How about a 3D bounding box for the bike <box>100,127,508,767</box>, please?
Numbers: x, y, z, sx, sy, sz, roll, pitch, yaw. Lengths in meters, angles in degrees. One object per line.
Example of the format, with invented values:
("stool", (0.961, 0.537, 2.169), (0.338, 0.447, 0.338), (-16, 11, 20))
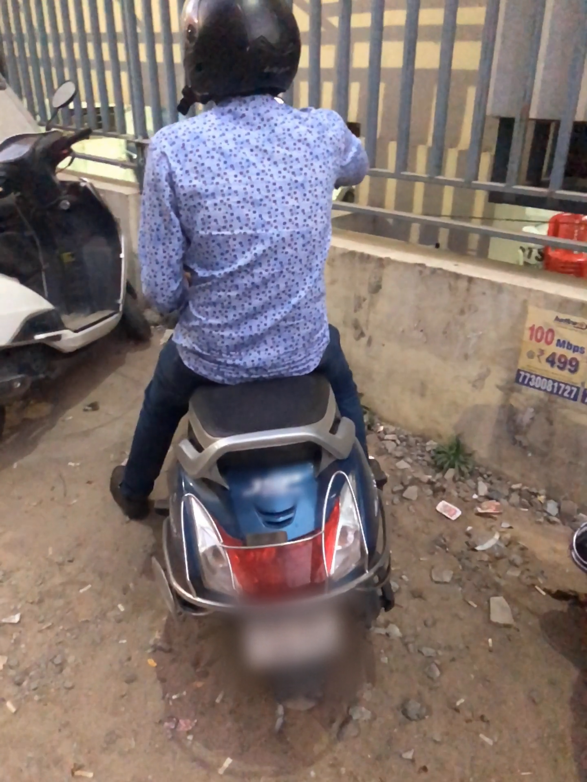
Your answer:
("bike", (-0.153, -0.037, 1.892), (0.616, 1.130, 1.477), (-6, 31, -14))
